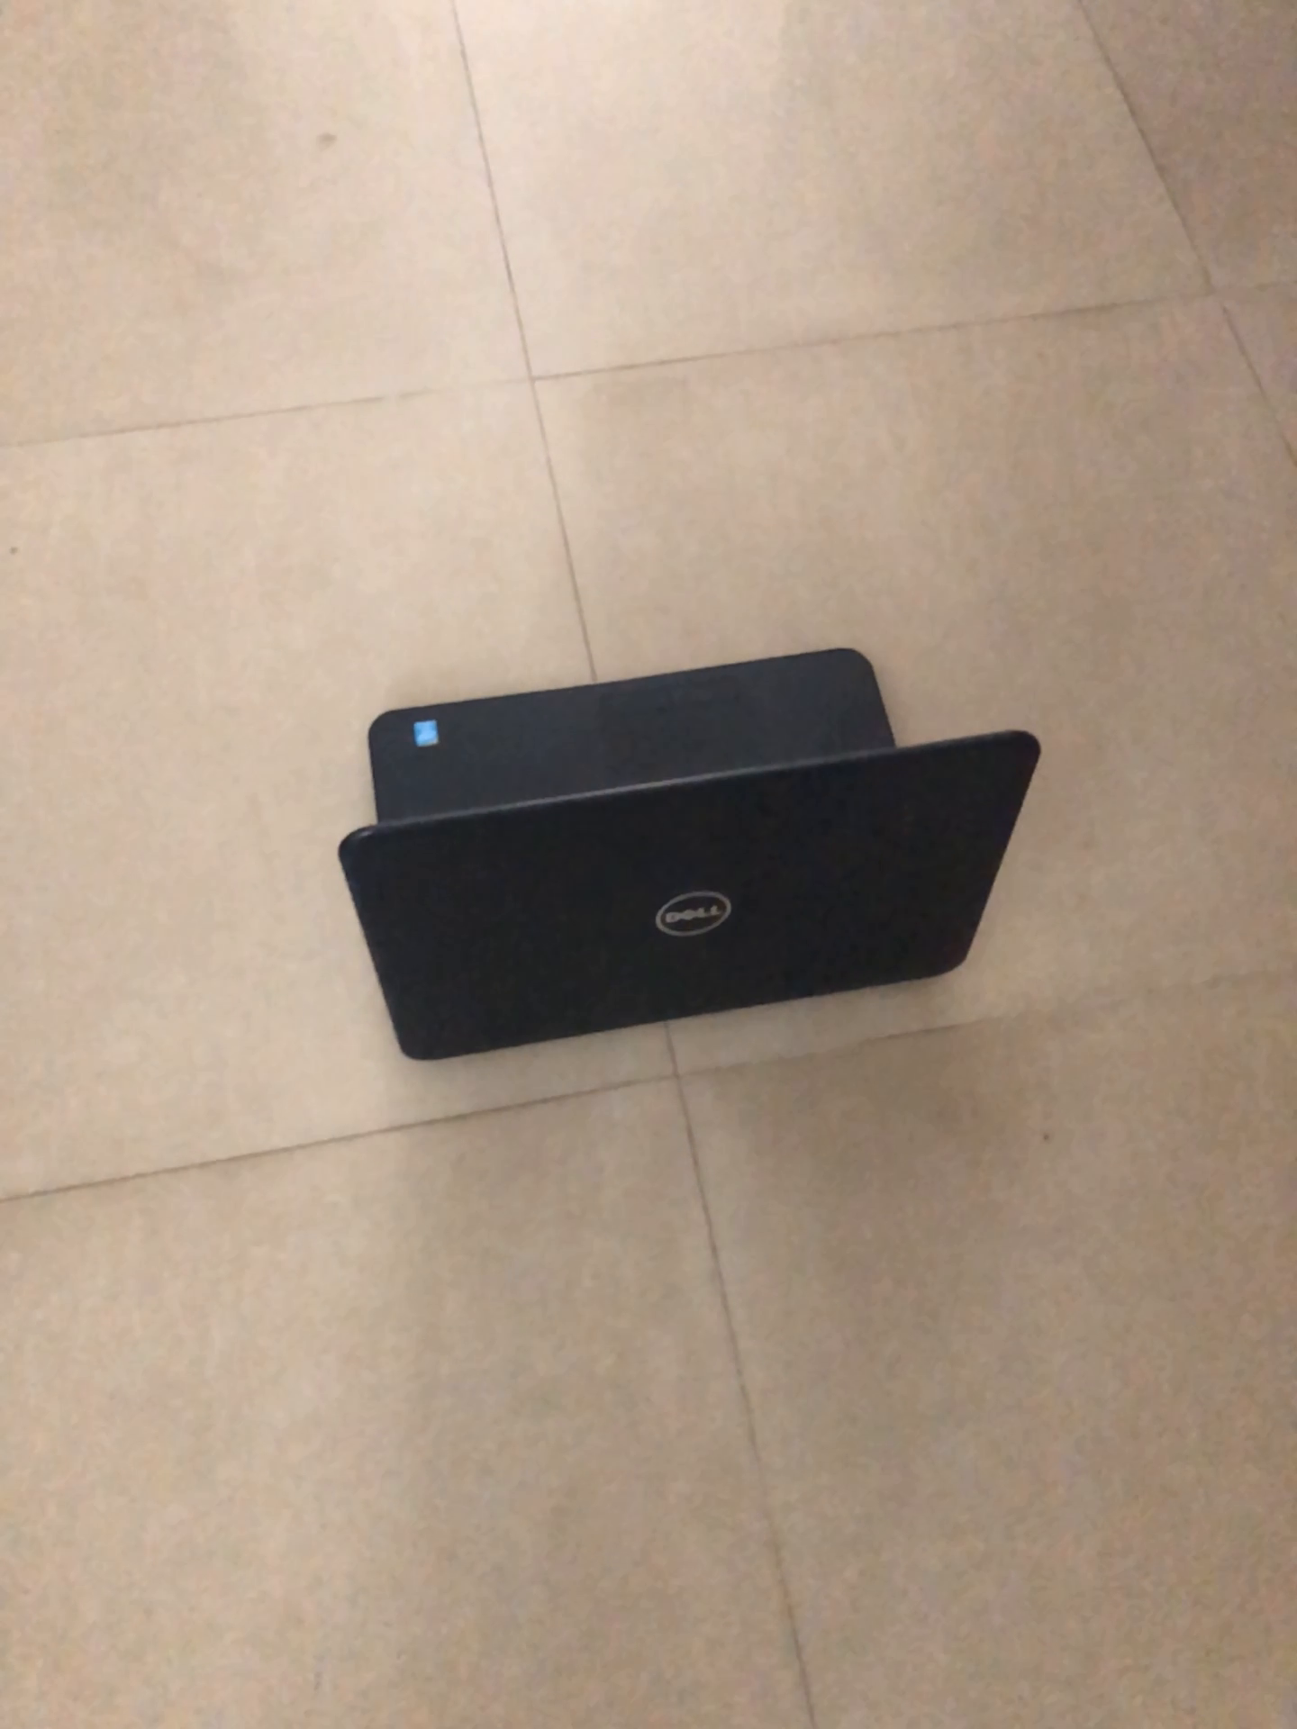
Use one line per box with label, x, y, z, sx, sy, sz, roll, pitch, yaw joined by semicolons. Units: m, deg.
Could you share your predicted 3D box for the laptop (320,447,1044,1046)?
laptop;0.005;-0.066;0.876;0.351;0.227;0.248;-9;64;-6
